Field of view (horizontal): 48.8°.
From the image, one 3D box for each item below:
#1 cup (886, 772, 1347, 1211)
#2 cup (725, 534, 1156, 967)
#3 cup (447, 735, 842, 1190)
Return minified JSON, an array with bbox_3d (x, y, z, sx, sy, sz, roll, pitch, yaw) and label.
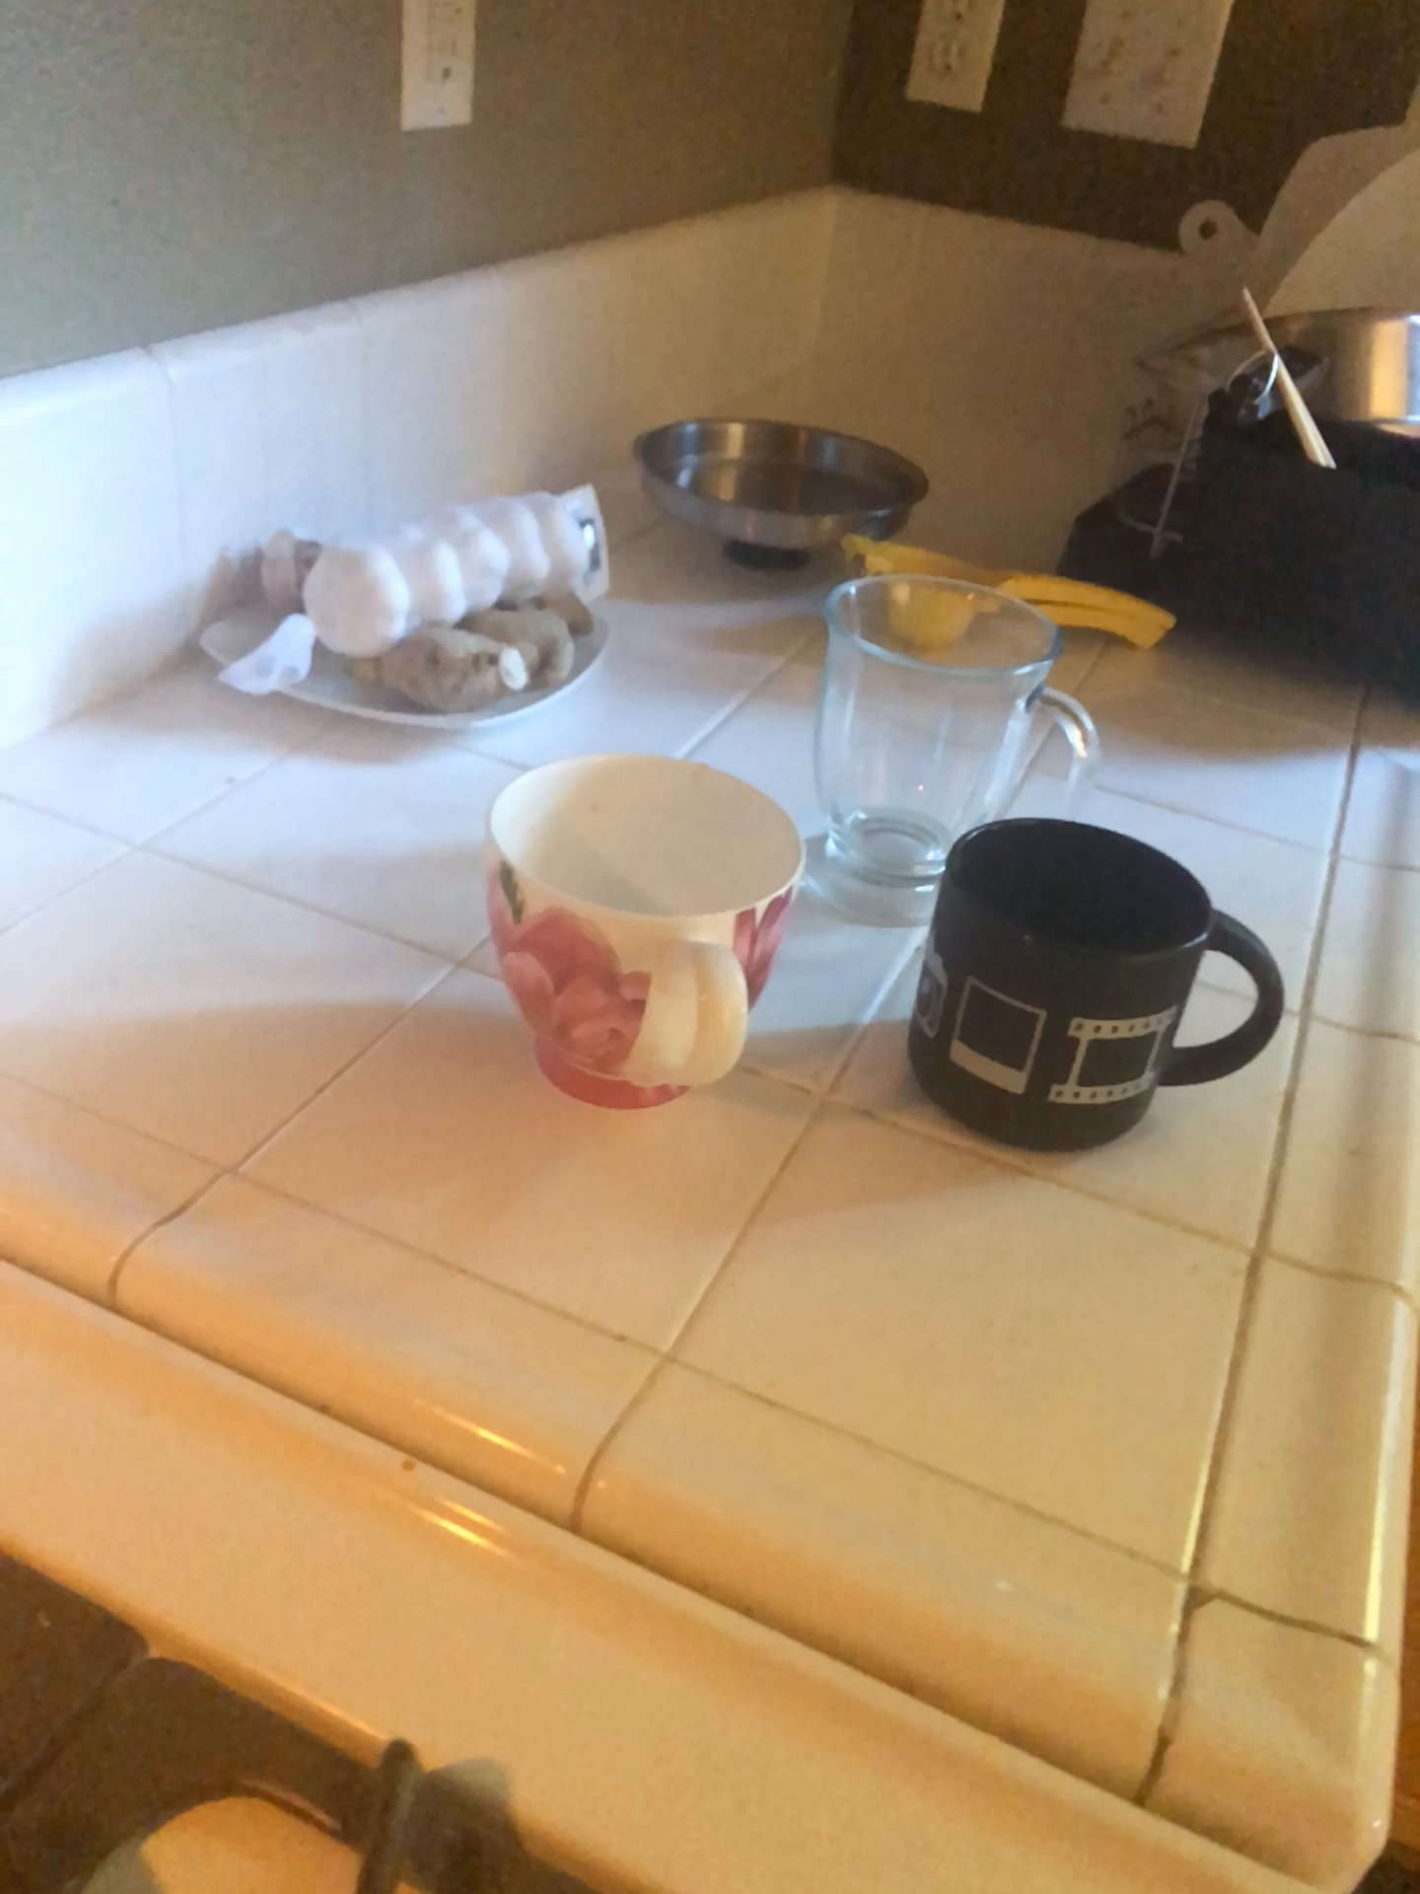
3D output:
[{"bbox_3d":[0.142,0.013,0.564,0.130,0.089,0.101,13,35,6],"label":"cup"},{"bbox_3d":[0.091,-0.086,0.652,0.101,0.119,0.120,-23,45,-38],"label":"cup"},{"bbox_3d":[-0.028,0.001,0.524,0.110,0.079,0.141,3,35,-9],"label":"cup"}]
